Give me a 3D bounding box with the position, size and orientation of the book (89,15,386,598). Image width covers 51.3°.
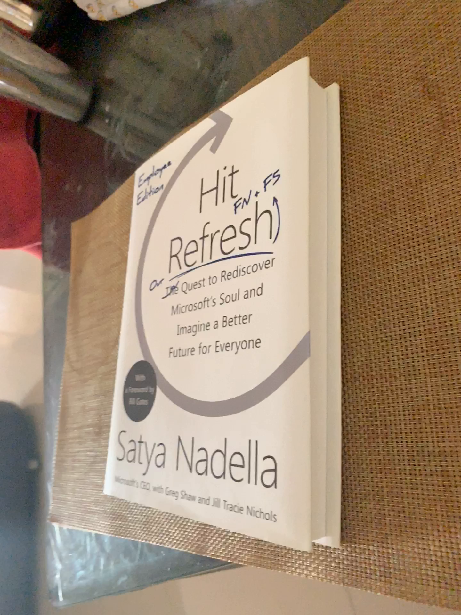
[{"bbox_3d":[-0.006,-0.002,0.283,0.191,0.040,0.250,-11,70,48],"label":"book"}]
